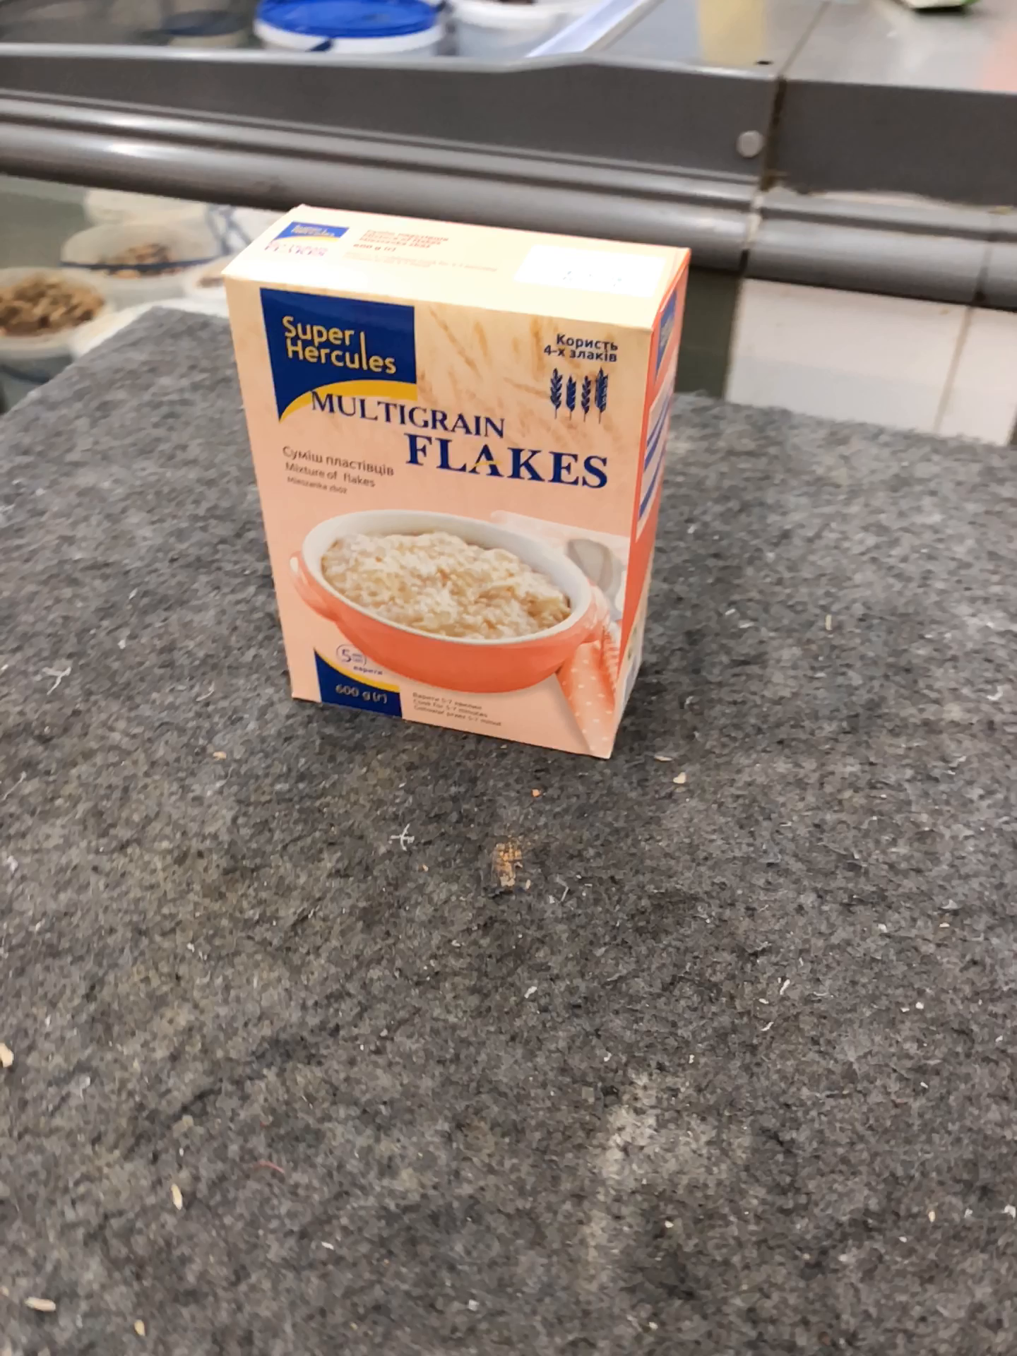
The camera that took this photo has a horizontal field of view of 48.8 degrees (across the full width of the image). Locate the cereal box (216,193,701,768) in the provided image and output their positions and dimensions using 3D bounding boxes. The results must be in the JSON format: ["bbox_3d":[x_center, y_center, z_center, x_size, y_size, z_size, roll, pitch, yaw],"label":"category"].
[{"bbox_3d":[-0.015,-0.072,0.447,0.150,0.199,0.070,11,43,12],"label":"cereal box"}]
